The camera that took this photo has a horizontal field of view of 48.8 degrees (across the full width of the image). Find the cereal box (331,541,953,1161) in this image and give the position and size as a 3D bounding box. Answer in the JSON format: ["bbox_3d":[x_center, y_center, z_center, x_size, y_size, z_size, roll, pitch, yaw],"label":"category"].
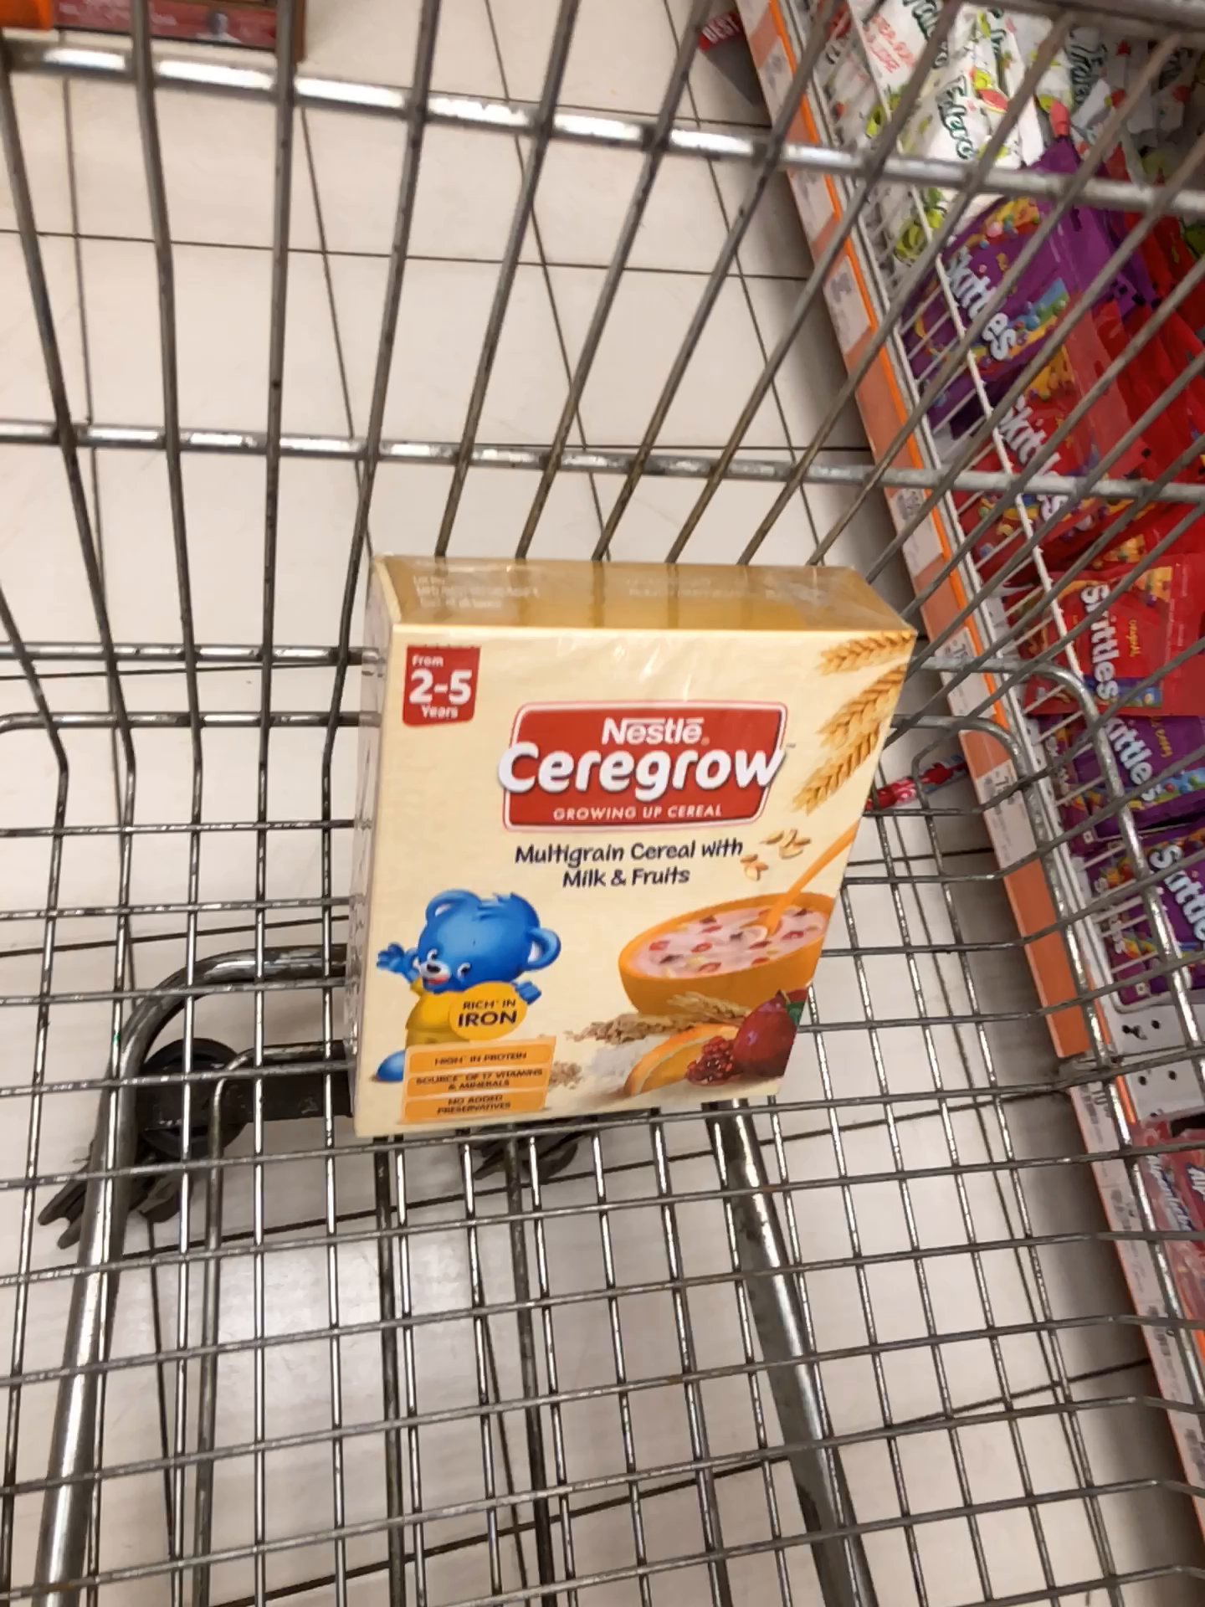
[{"bbox_3d":[0.002,0.019,0.418,0.160,0.189,0.050,-2,34,-18],"label":"cereal box"}]
